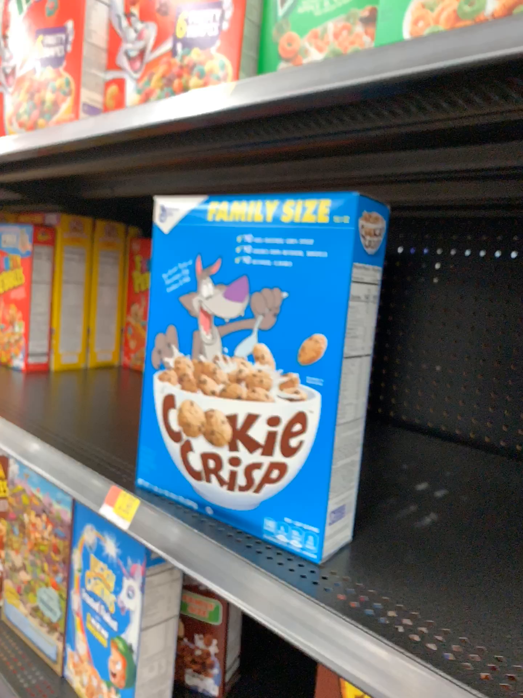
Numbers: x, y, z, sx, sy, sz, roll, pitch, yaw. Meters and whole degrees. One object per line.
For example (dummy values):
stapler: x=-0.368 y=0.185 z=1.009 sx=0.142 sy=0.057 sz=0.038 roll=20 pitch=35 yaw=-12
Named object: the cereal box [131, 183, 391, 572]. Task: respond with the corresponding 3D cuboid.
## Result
cereal box: x=-0.016 y=0.011 z=0.571 sx=0.250 sy=0.339 sz=0.070 roll=10 pitch=9 yaw=36
